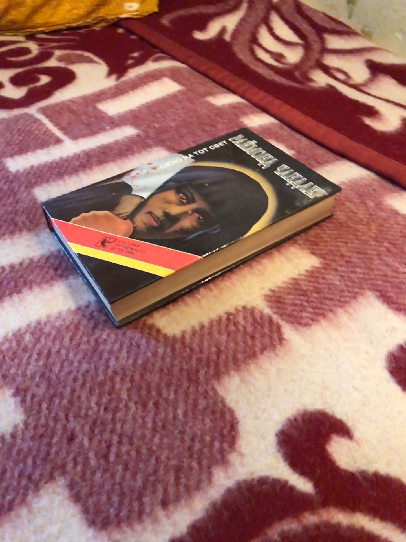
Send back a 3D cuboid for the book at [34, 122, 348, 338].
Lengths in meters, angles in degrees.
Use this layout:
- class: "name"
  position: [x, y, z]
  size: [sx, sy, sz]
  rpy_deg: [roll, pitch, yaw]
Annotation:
- class: "book"
  position: [-0.010, -0.049, 0.366]
  size: [0.209, 0.032, 0.134]
  rpy_deg: [-27, 50, -21]
